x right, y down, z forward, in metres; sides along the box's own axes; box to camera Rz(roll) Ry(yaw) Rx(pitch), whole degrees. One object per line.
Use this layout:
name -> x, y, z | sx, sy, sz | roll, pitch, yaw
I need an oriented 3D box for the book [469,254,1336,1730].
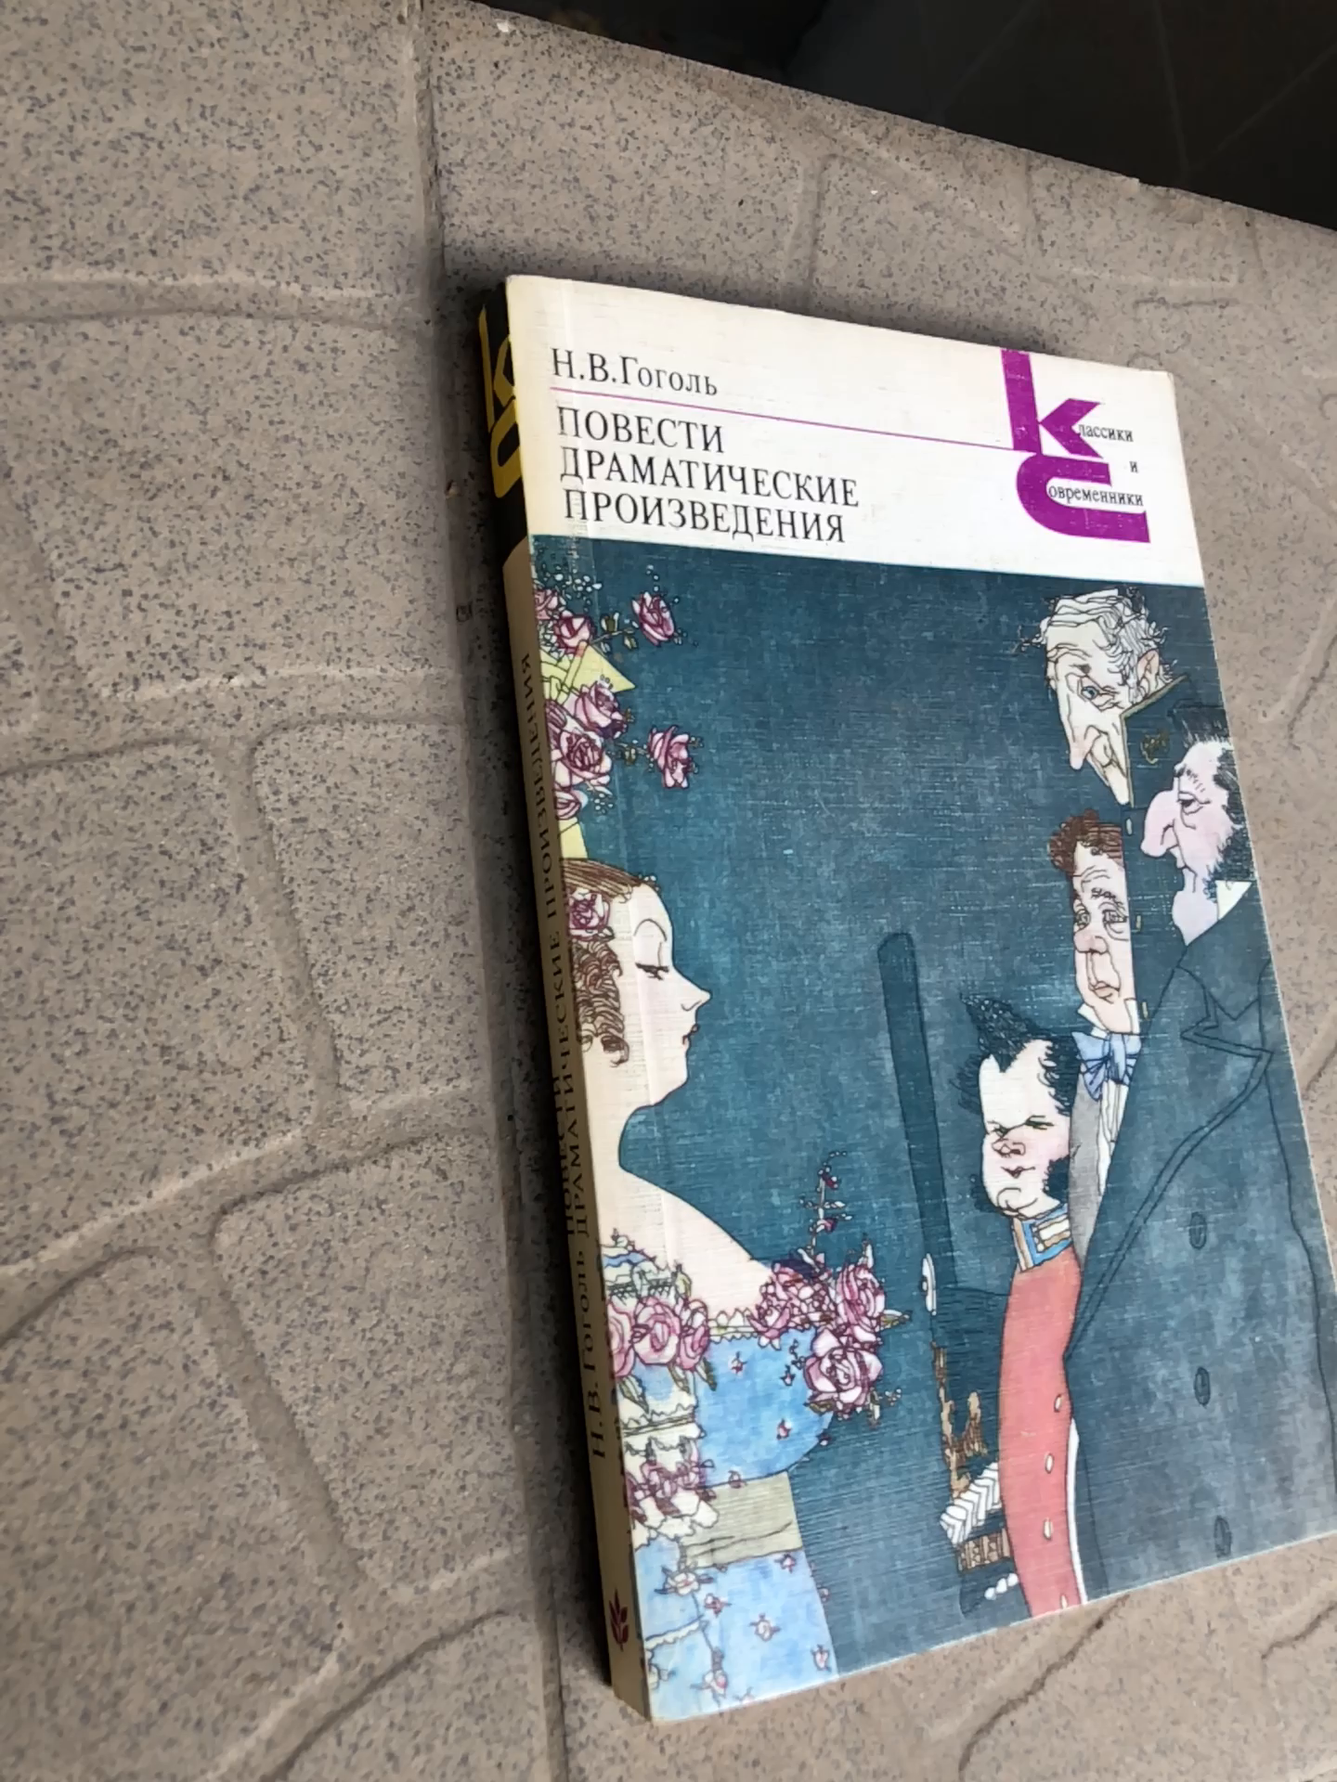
book -> 0.039, 0.006, 0.229 | 0.124, 0.021, 0.193 | -1, 80, -25
